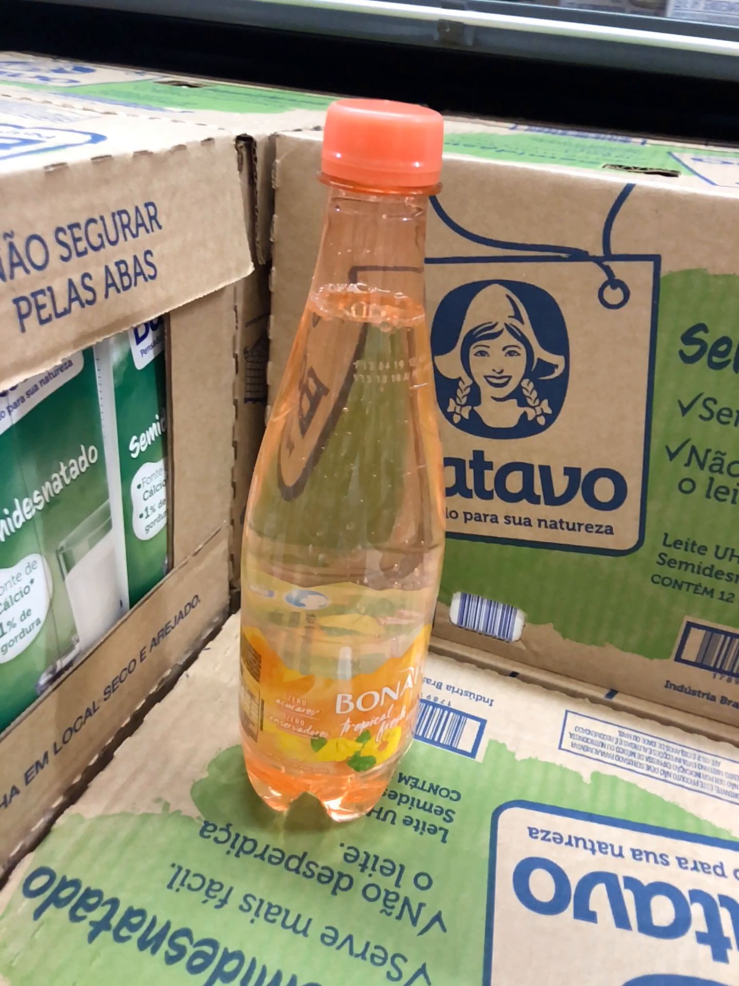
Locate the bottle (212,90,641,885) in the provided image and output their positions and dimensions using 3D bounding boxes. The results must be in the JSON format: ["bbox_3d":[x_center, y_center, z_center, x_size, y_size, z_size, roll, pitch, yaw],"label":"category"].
[{"bbox_3d":[0.004,0.004,0.261,0.080,0.228,0.070,-14,35,-33],"label":"bottle"}]
